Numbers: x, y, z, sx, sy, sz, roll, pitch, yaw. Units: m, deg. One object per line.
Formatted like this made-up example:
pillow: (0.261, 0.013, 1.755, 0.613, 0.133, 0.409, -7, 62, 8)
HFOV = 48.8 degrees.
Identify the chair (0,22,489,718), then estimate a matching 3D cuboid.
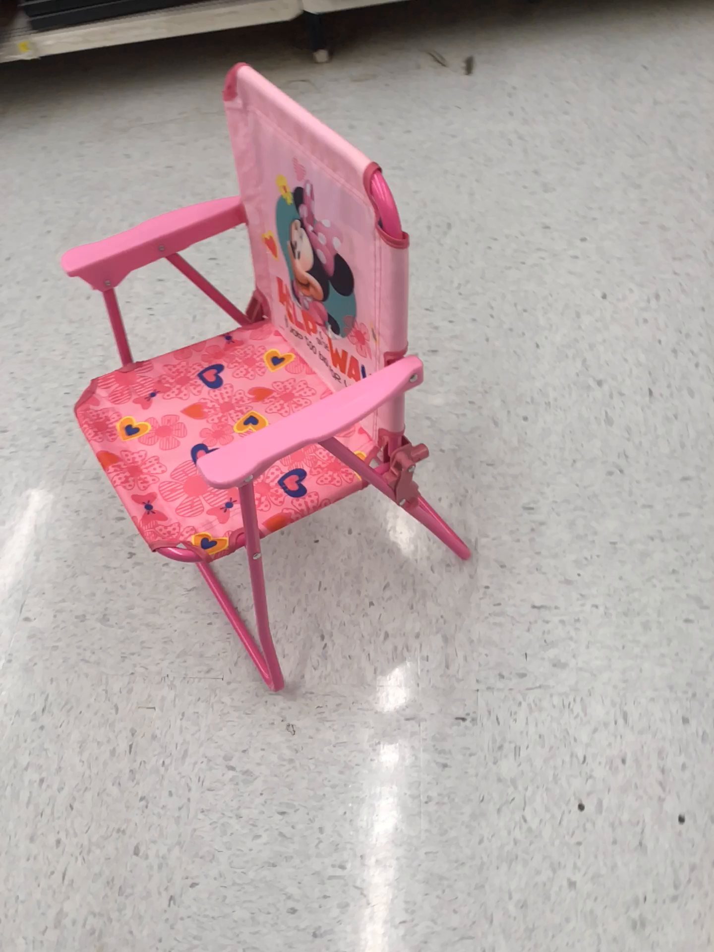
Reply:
chair: (-0.129, -0.072, 0.790, 0.340, 0.489, 0.361, -33, 57, -9)
